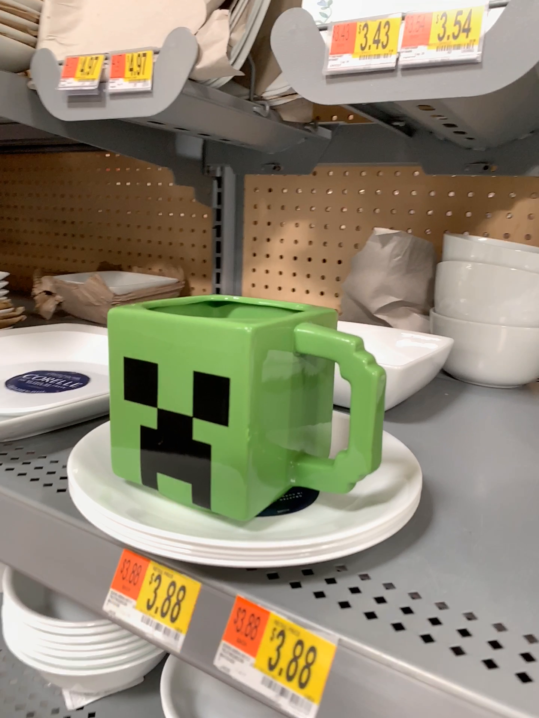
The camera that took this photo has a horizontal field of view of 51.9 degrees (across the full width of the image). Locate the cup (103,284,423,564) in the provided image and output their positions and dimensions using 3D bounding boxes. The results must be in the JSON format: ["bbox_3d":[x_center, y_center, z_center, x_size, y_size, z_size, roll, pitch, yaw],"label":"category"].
[{"bbox_3d":[-0.004,0.020,0.317,0.142,0.104,0.106,11,16,31],"label":"cup"}]
